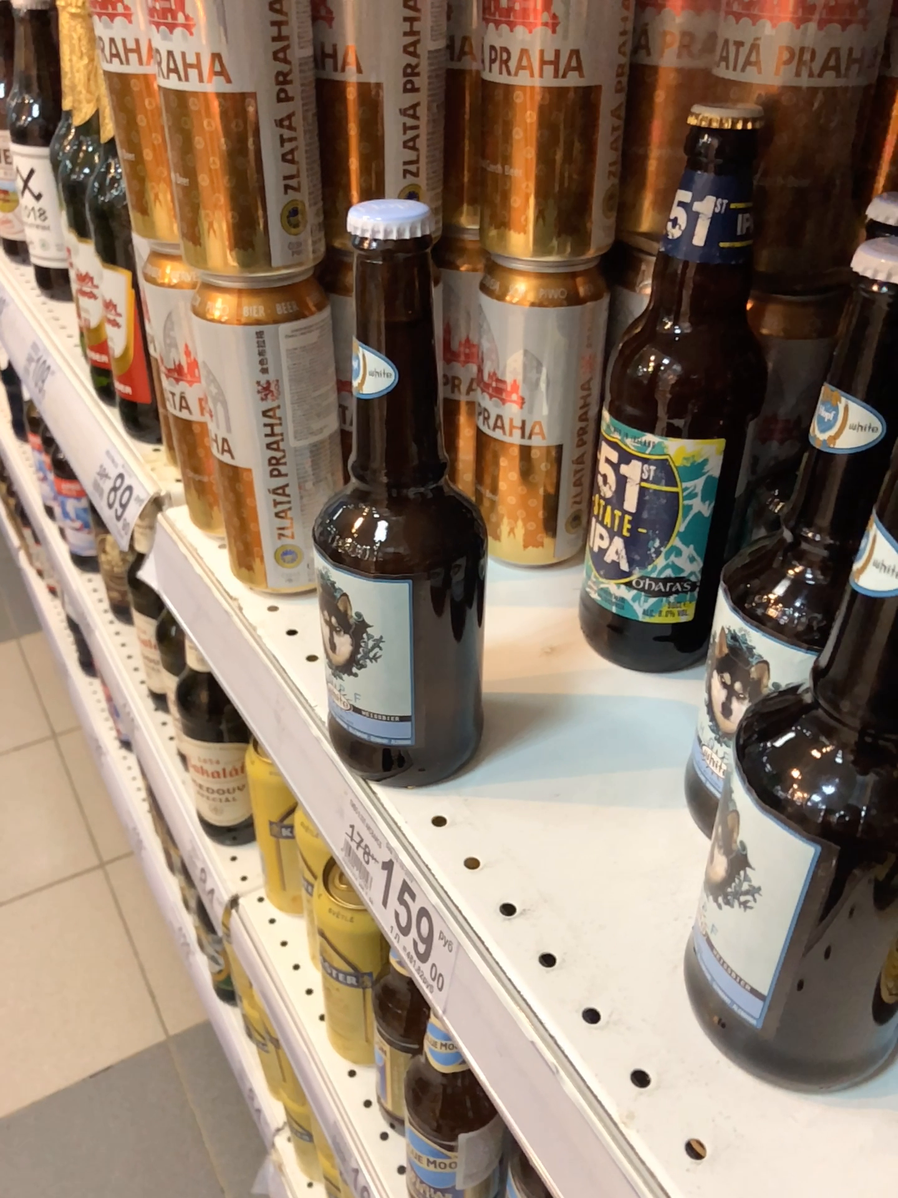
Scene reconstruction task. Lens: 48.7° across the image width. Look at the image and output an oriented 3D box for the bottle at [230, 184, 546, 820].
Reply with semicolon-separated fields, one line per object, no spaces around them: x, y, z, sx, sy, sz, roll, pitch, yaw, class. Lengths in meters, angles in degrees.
-0.023;-0.032;0.381;0.070;0.219;0.080;-21;39;-30;bottle
